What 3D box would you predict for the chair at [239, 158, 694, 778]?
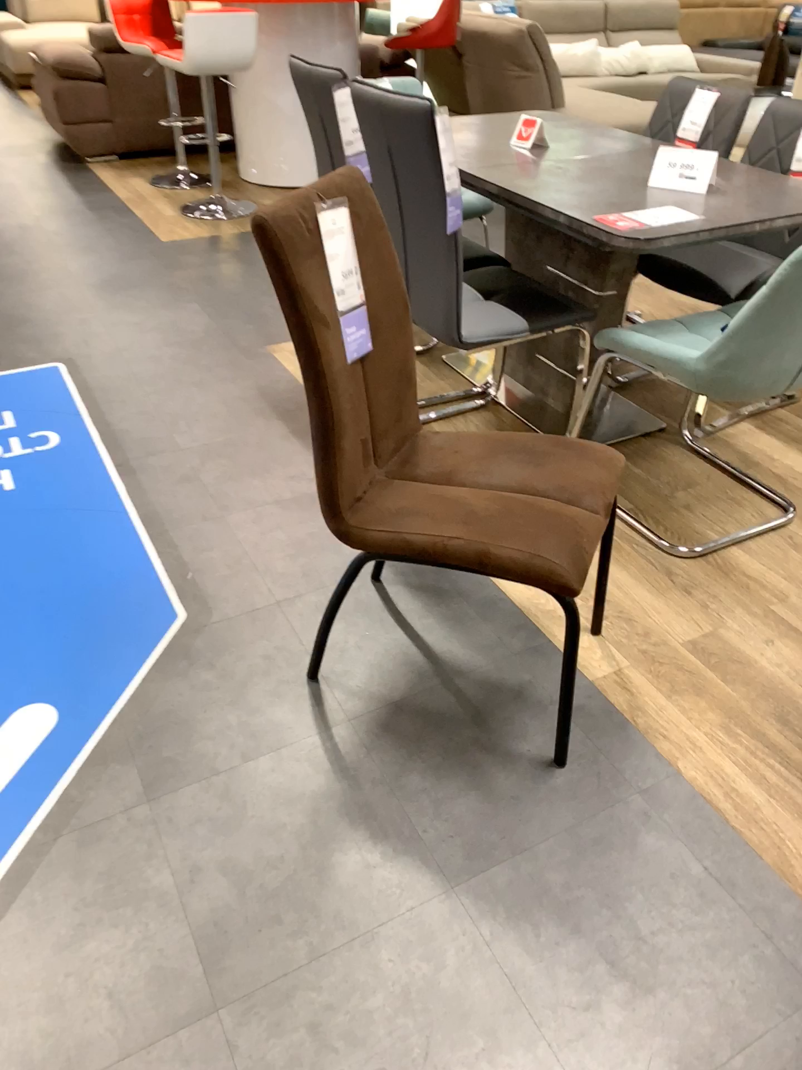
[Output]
[{"bbox_3d":[0.117,-0.114,1.527,0.590,0.964,0.443,13,37,16],"label":"chair"}]
